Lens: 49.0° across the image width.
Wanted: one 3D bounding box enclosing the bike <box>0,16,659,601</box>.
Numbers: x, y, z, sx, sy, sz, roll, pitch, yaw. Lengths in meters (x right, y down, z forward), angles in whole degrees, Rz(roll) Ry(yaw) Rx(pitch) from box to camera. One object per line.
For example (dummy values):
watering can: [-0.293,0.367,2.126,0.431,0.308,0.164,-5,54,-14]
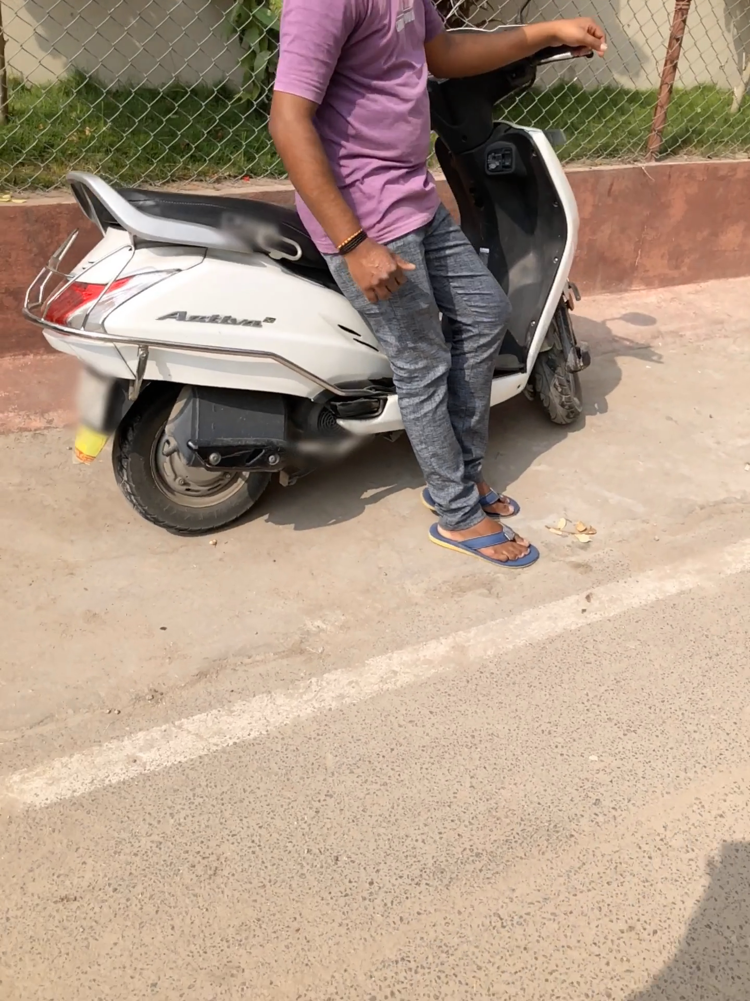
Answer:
bike: [-0.058,-0.633,2.251,1.559,1.113,0.618,-23,42,-32]
